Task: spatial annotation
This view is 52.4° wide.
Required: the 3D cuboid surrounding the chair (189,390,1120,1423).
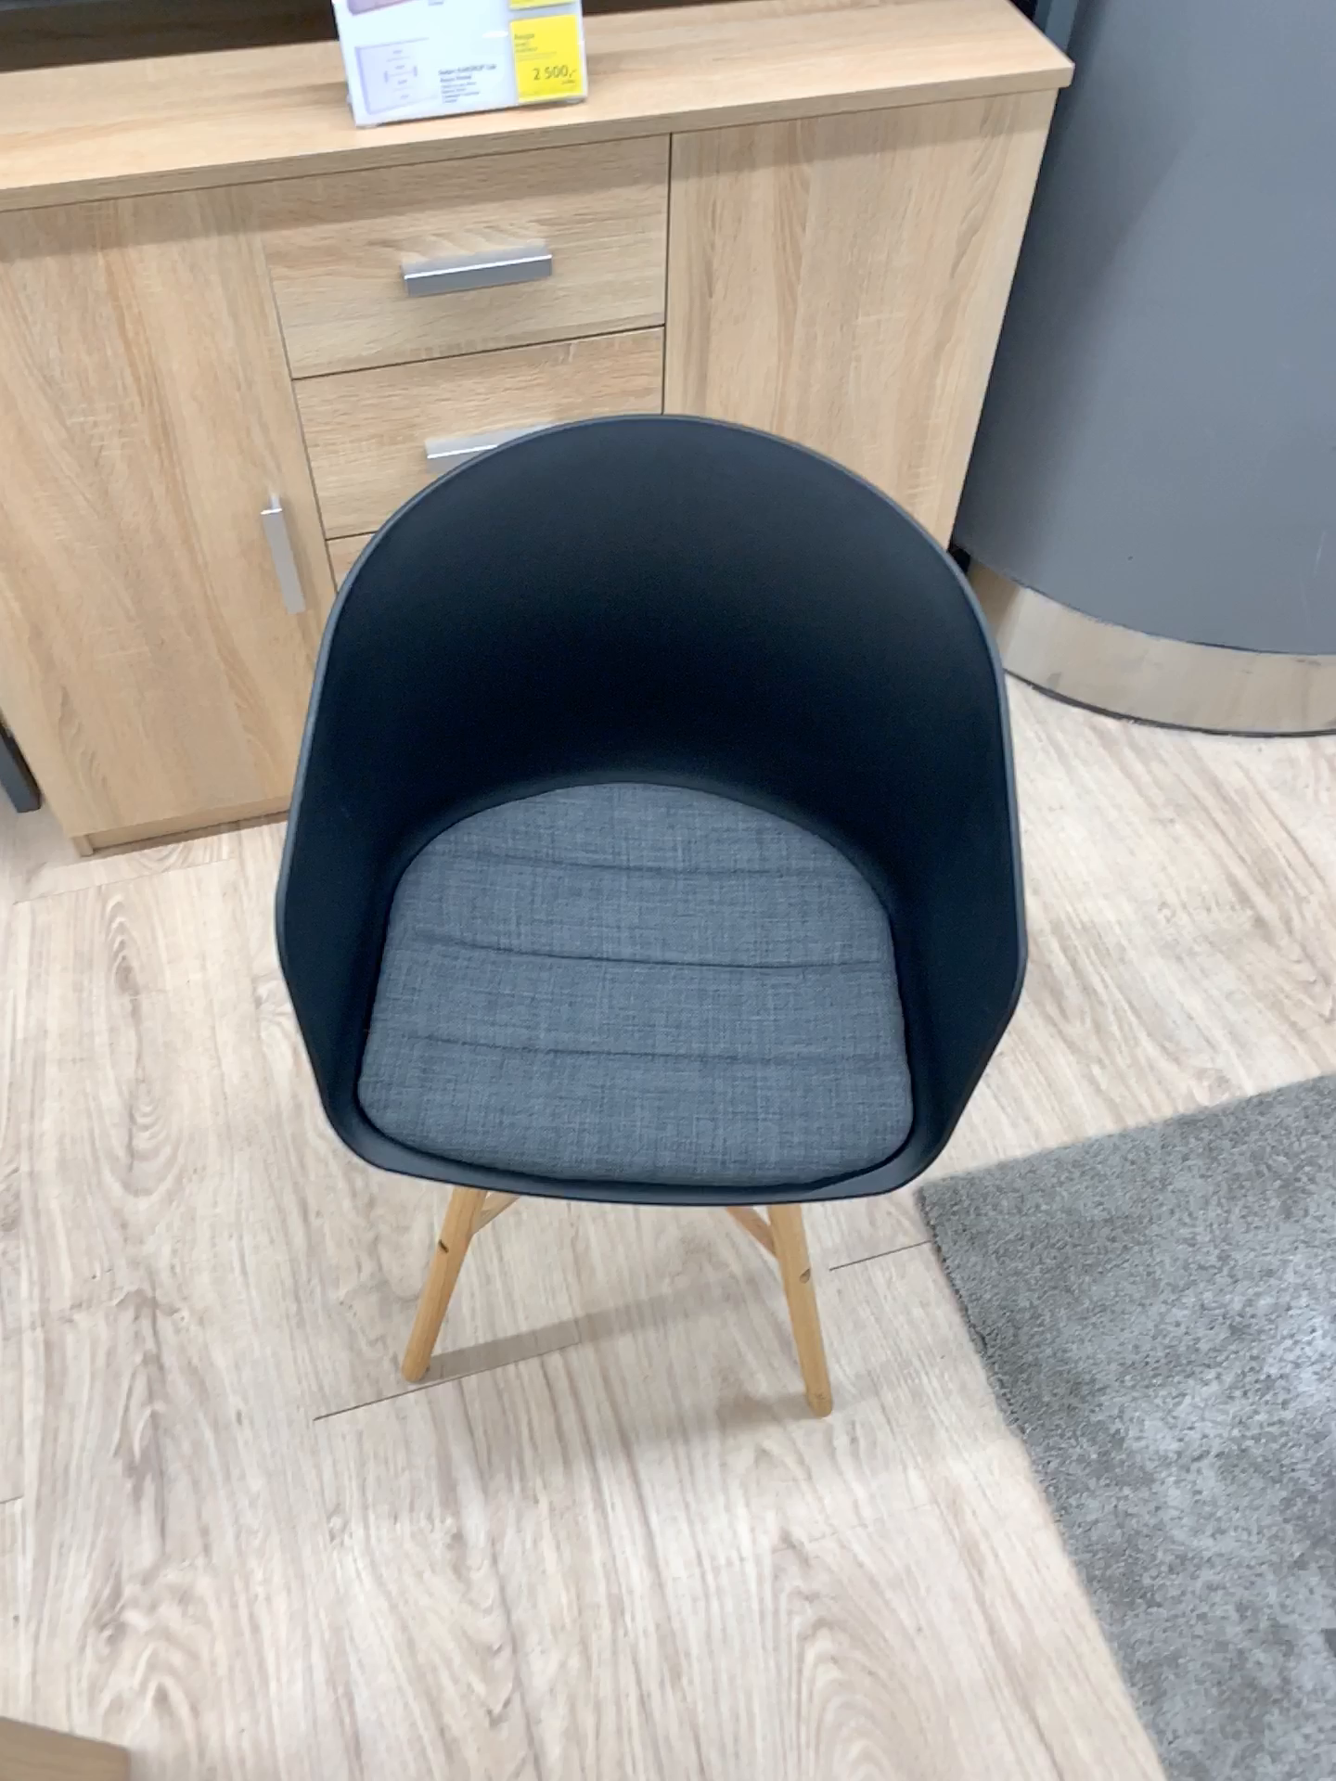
[{"bbox_3d":[-0.007,0.070,1.225,0.510,0.787,0.552,2,53,0],"label":"chair"}]
